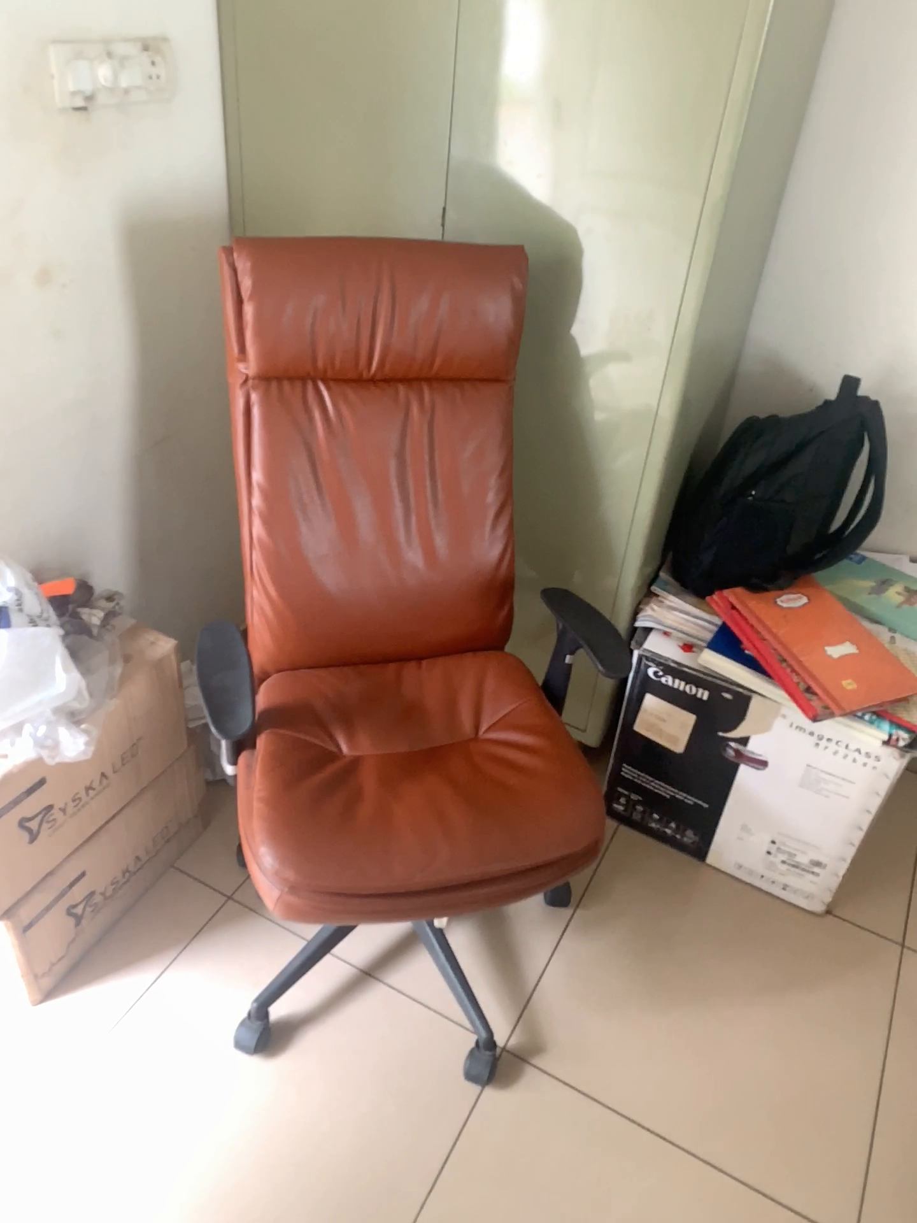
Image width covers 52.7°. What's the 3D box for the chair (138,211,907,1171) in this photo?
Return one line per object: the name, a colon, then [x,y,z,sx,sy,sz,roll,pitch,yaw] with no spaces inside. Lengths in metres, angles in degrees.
chair: [-0.069,0.069,1.467,0.690,1.085,0.934,-5,37,-14]
